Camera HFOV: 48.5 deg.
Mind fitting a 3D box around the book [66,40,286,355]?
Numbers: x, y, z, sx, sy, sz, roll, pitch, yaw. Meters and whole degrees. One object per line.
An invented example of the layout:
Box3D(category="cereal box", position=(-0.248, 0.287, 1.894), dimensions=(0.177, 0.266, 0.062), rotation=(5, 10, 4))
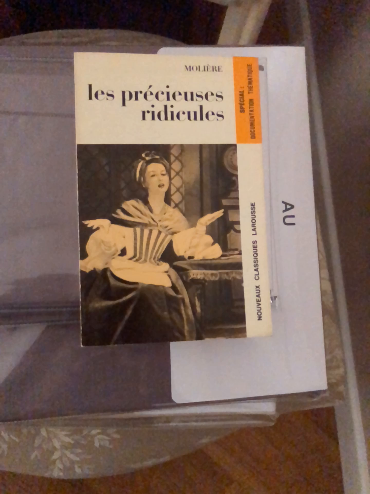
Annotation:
Box3D(category="book", position=(-0.006, -0.032, 0.247), dimensions=(0.120, 0.020, 0.180), rotation=(-2, 85, -6))
